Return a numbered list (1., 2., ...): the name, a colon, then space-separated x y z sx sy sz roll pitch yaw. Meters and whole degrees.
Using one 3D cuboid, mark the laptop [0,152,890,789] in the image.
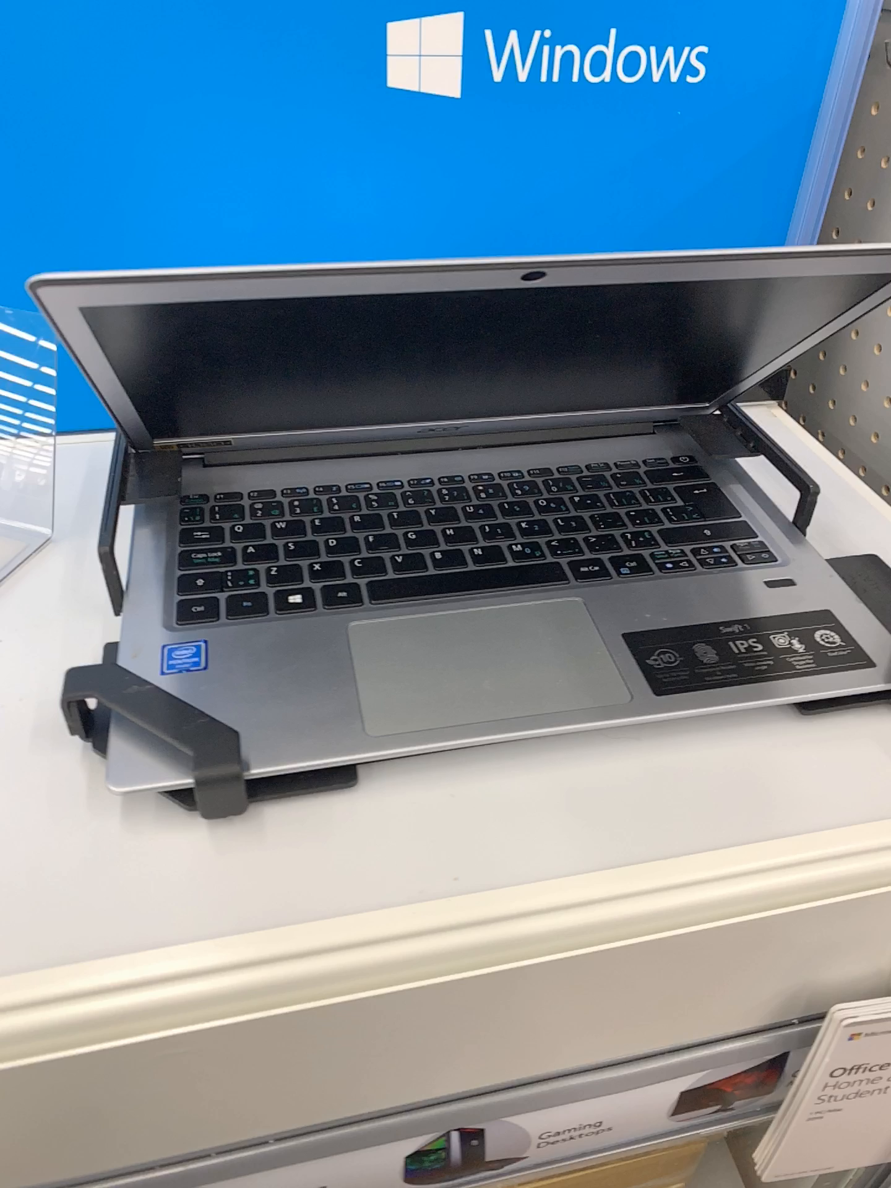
1. laptop: 0.019 -0.069 0.365 0.307 0.140 0.198 -6 41 -10
